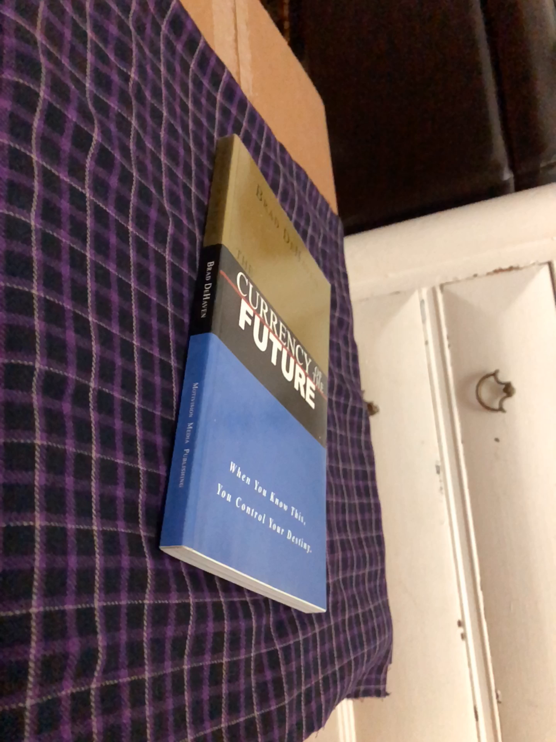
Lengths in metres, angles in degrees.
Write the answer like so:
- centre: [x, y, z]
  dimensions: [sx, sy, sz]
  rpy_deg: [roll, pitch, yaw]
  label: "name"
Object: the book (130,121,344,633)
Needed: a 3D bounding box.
- centre: [-0.002, 0.006, 0.319]
  dimensions: [0.150, 0.020, 0.220]
  rpy_deg: [48, 38, -50]
  label: "book"
